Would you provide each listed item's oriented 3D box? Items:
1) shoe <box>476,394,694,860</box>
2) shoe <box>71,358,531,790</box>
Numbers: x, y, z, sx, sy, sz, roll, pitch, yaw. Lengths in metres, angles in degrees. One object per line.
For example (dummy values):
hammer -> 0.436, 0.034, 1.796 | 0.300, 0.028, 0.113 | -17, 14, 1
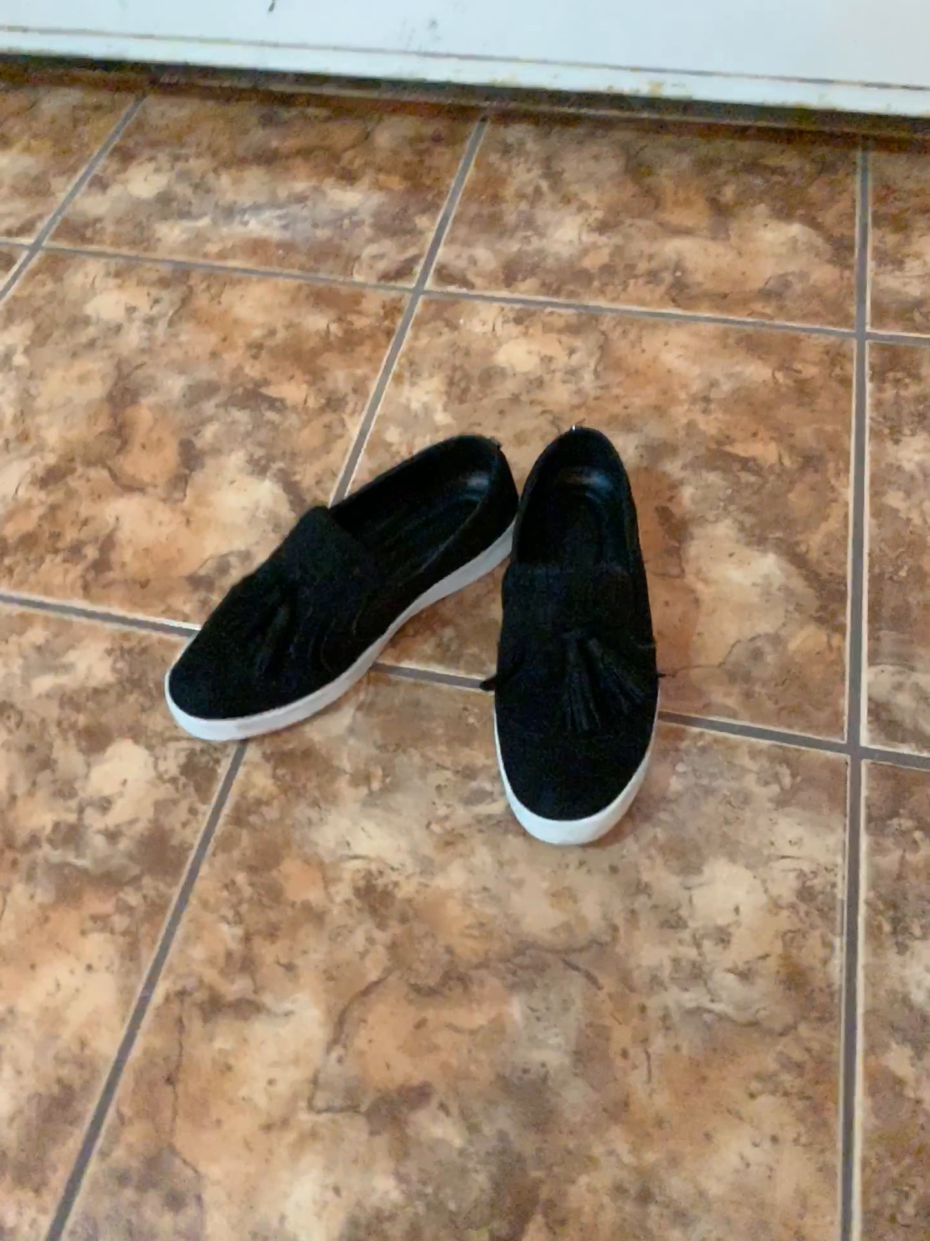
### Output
shoe -> 0.063, -0.005, 0.532 | 0.097, 0.094, 0.250 | 1, 56, 4
shoe -> -0.082, -0.033, 0.561 | 0.250, 0.094, 0.097 | -40, 63, -21
